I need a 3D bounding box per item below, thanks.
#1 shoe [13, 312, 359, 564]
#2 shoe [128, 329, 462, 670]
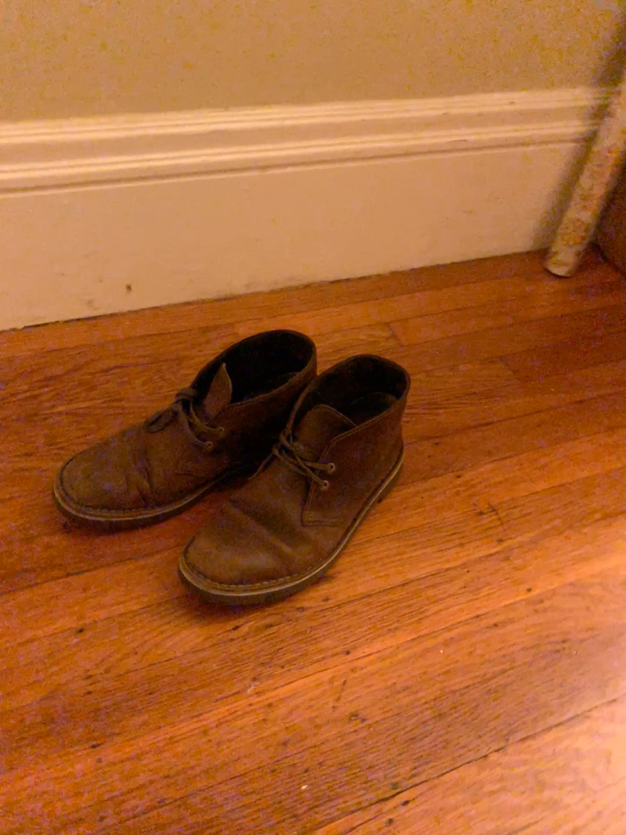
[{"bbox_3d":[-0.117,0.010,0.637,0.290,0.119,0.121,-18,51,-23],"label":"shoe"},{"bbox_3d":[-0.005,0.058,0.594,0.120,0.119,0.301,34,51,23],"label":"shoe"}]
